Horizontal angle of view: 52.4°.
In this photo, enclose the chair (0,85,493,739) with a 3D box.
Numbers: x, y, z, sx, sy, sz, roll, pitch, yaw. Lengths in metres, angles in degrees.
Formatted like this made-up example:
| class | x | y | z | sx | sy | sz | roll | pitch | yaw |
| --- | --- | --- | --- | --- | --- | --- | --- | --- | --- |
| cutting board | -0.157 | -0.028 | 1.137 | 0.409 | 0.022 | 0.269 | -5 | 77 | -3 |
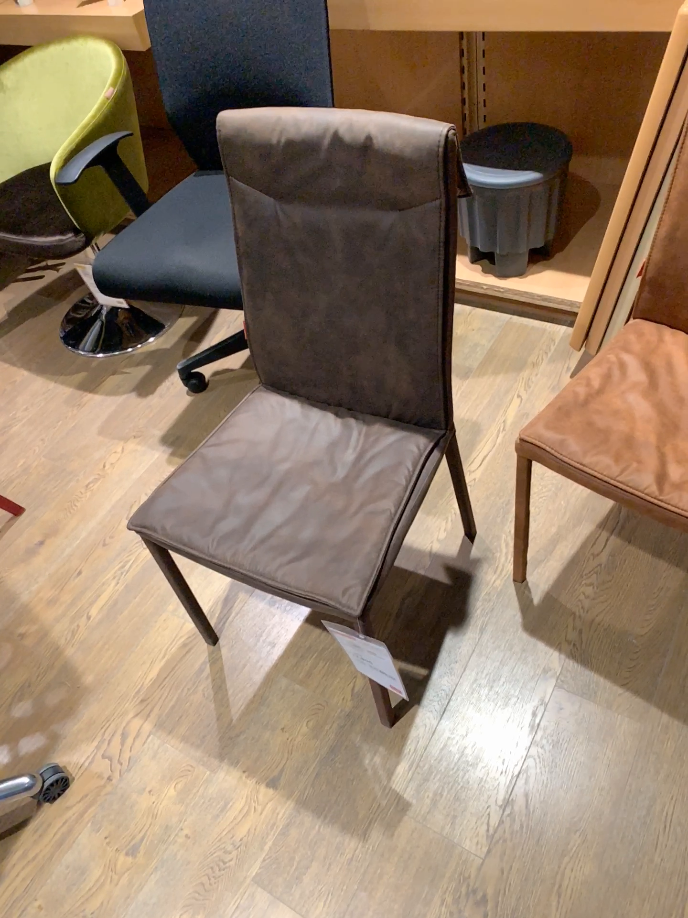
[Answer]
| class | x | y | z | sx | sy | sz | roll | pitch | yaw |
| --- | --- | --- | --- | --- | --- | --- | --- | --- | --- |
| chair | -0.087 | -0.037 | 1.187 | 0.501 | 0.907 | 0.521 | 18 | 55 | 26 |
